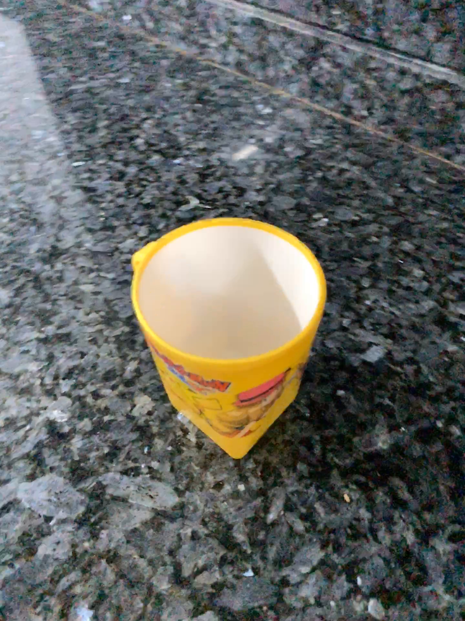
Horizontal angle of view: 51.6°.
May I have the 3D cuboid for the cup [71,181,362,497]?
[{"bbox_3d":[-0.007,0.016,0.243,0.100,0.109,0.070,32,59,25],"label":"cup"}]
